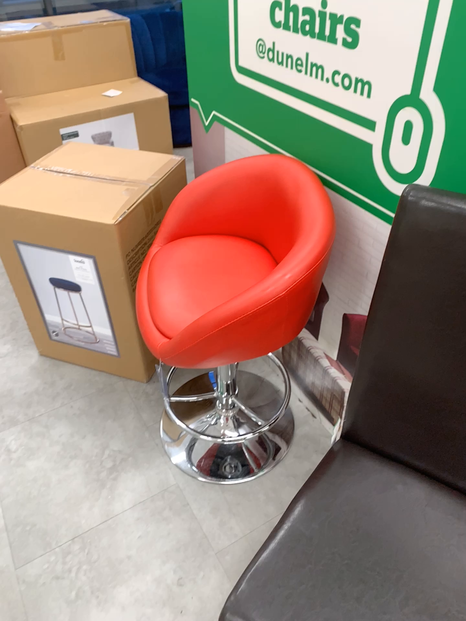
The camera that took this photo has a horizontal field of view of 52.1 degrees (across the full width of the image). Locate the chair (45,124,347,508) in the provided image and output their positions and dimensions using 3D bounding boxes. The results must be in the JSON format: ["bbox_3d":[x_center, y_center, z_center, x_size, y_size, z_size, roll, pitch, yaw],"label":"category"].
[{"bbox_3d":[-0.079,0.025,1.184,0.477,0.761,0.499,-7,40,-6],"label":"chair"}]

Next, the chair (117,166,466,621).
[{"bbox_3d":[0.250,0.361,0.725,0.446,0.919,0.521,21,45,25],"label":"chair"}]
